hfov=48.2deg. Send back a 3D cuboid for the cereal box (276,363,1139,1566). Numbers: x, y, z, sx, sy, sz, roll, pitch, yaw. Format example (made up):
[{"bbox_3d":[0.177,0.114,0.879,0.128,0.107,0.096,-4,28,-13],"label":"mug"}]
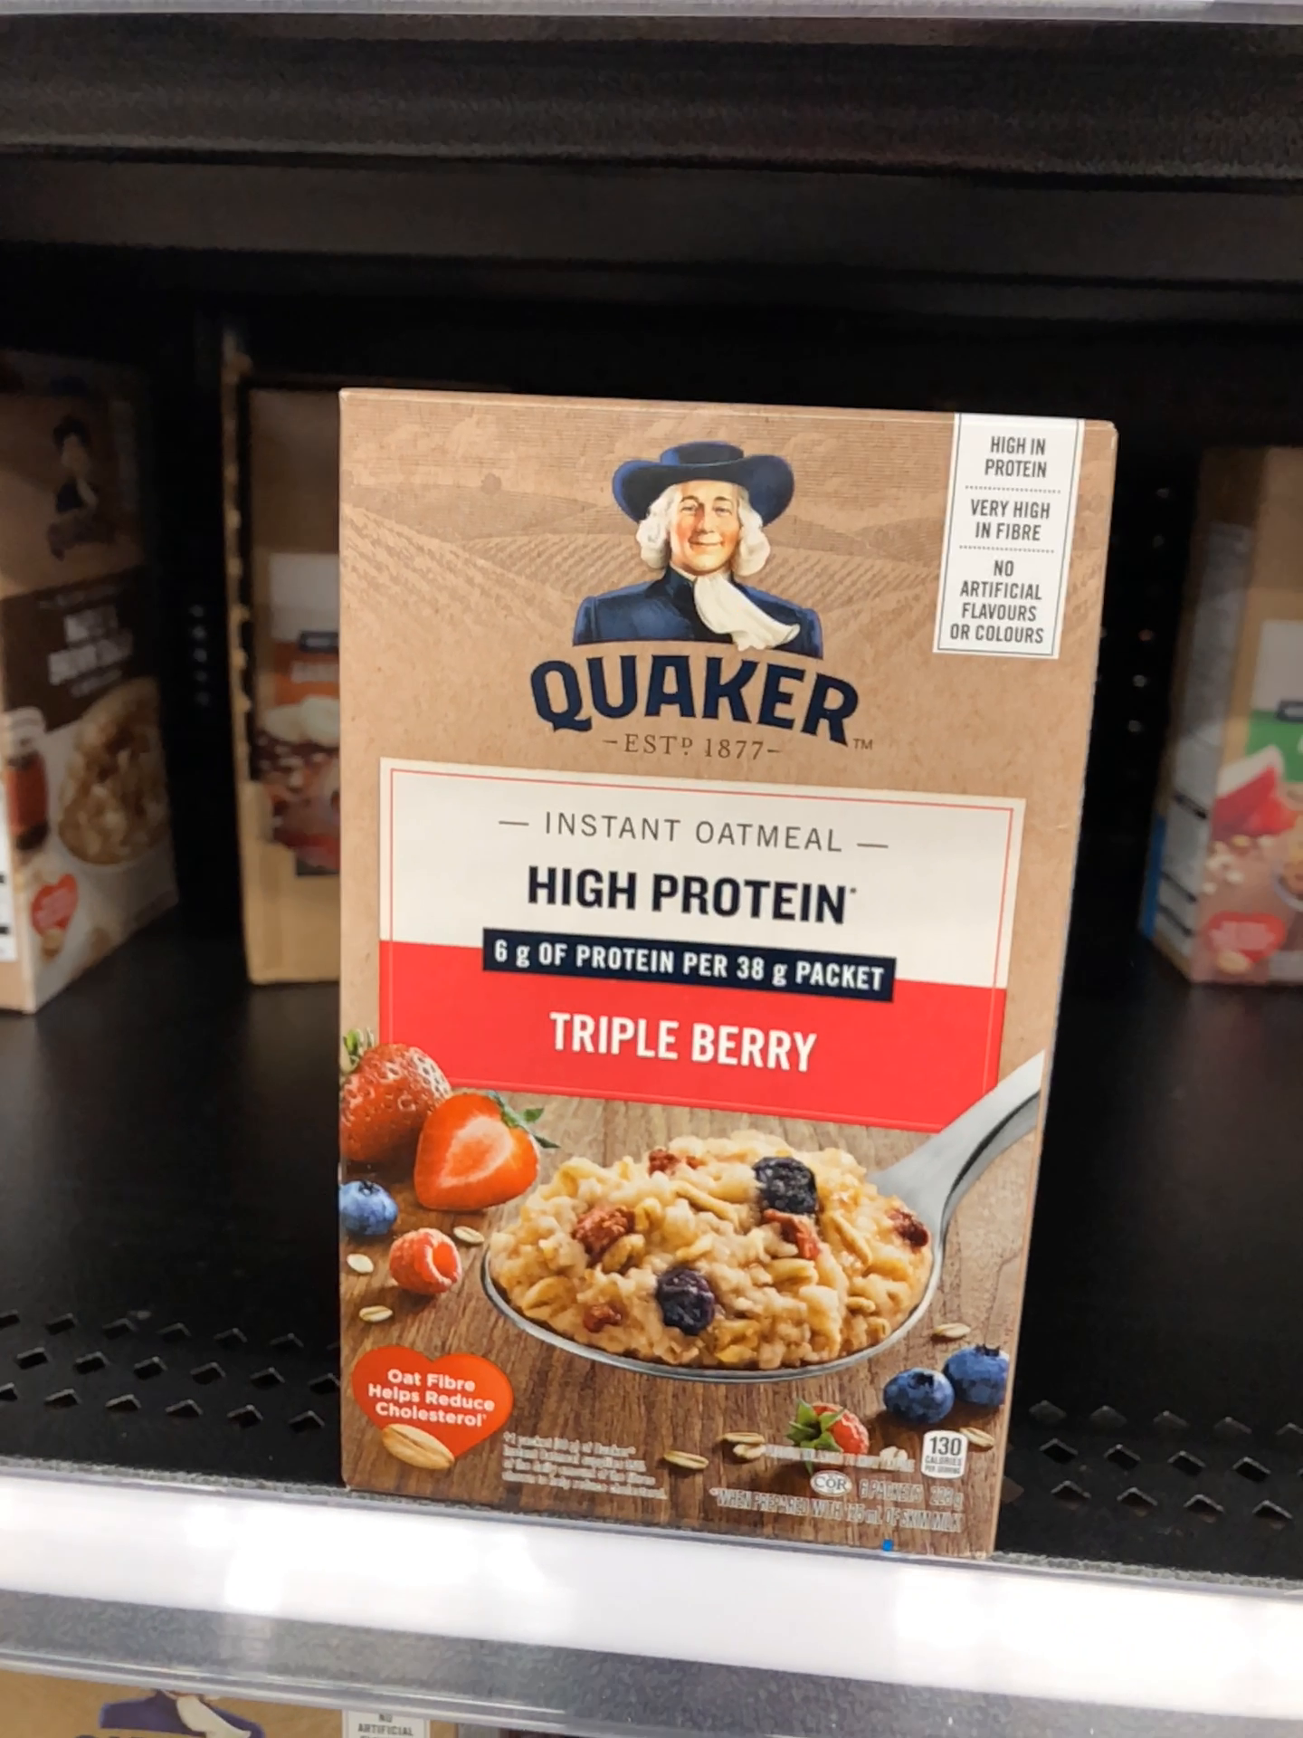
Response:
[{"bbox_3d":[0.006,0.014,0.276,0.130,0.199,0.070,4,13,5],"label":"cereal box"}]
